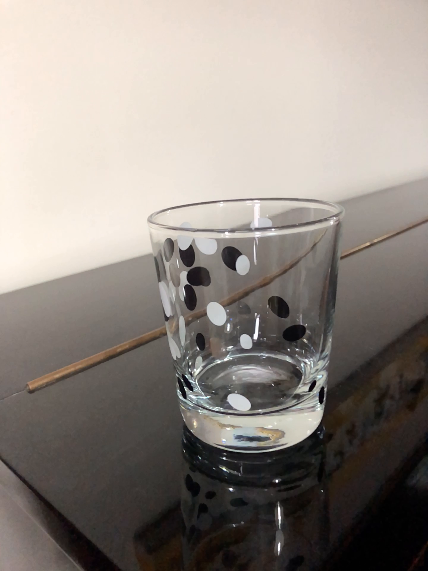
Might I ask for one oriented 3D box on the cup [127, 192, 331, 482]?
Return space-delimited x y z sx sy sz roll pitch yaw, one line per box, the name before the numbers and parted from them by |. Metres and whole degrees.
cup | 0.014 0.015 0.213 0.070 0.100 0.080 0 17 12
